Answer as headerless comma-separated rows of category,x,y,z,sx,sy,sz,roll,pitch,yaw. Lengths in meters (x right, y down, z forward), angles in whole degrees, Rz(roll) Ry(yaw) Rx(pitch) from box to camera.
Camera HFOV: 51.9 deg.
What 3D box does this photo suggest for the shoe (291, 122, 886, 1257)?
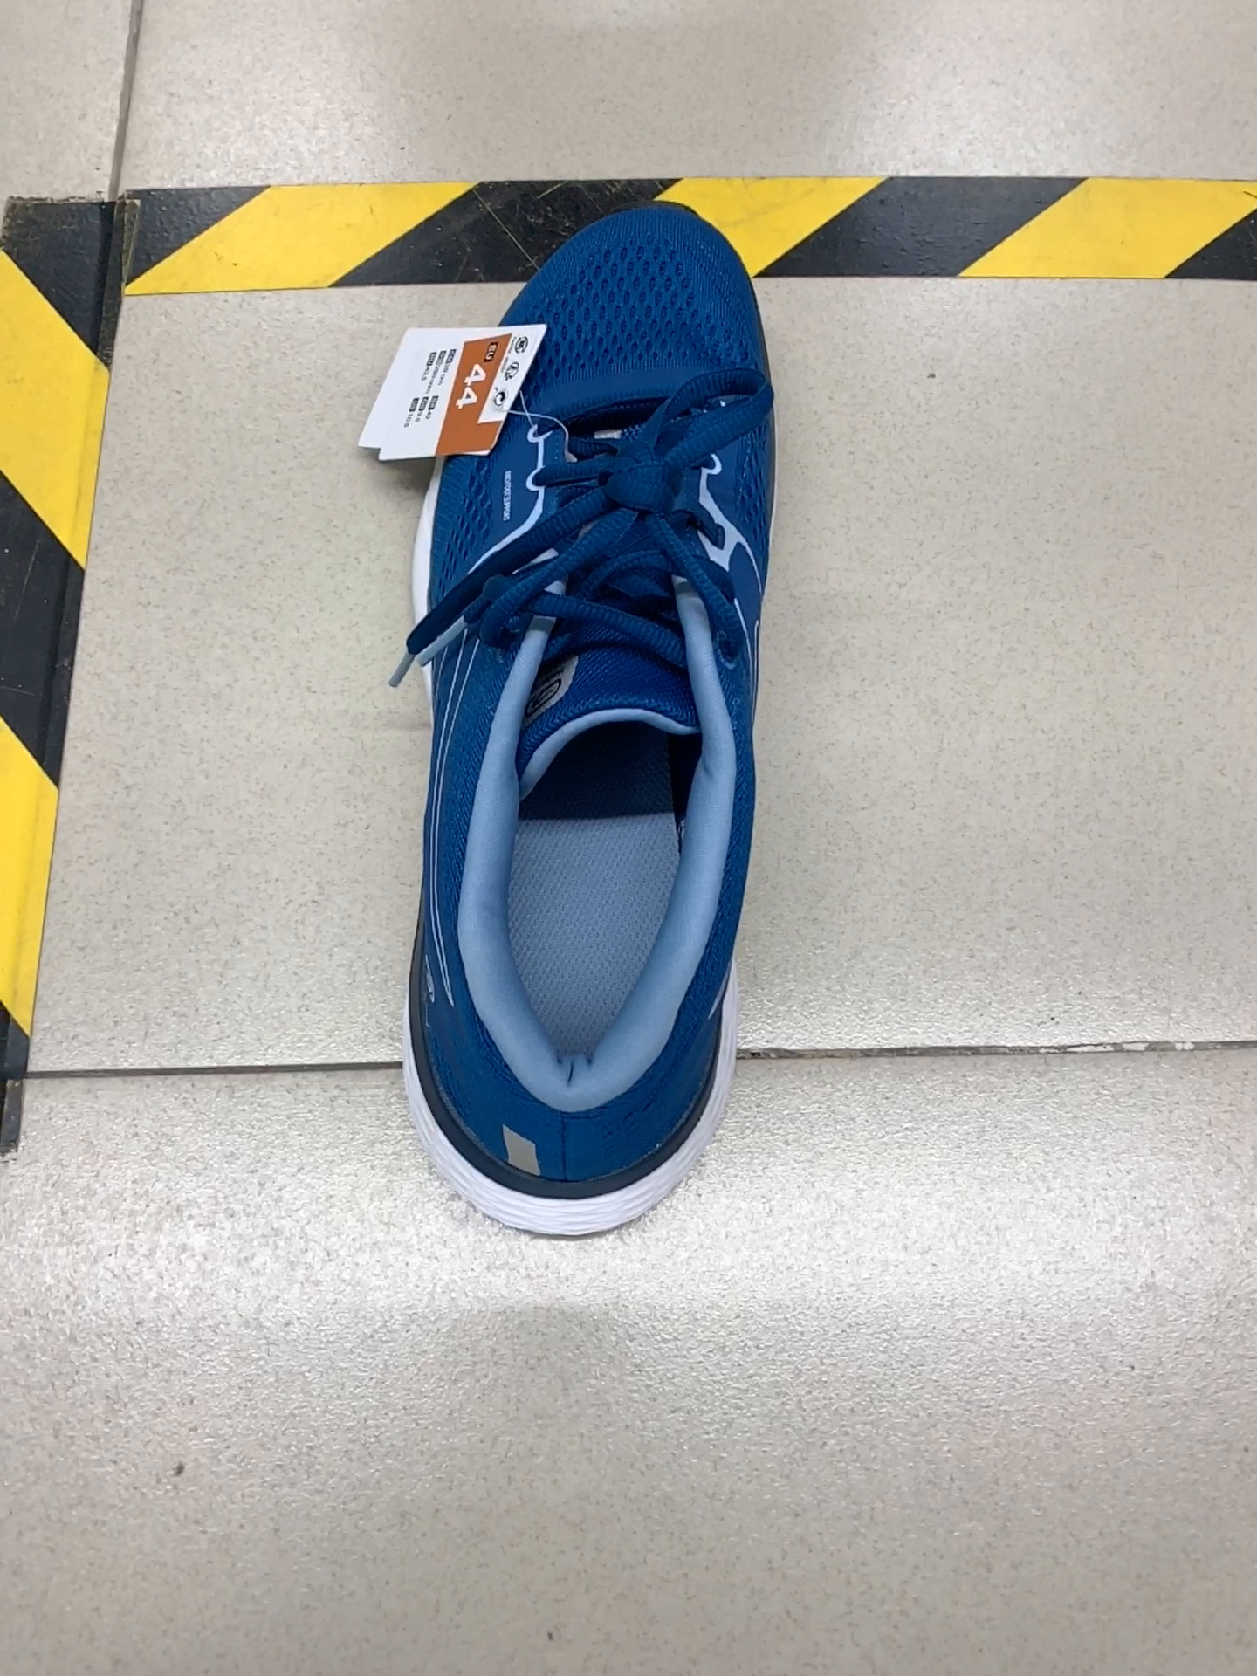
shoe,-0.004,-0.050,0.330,0.110,0.070,0.290,2,66,-1
